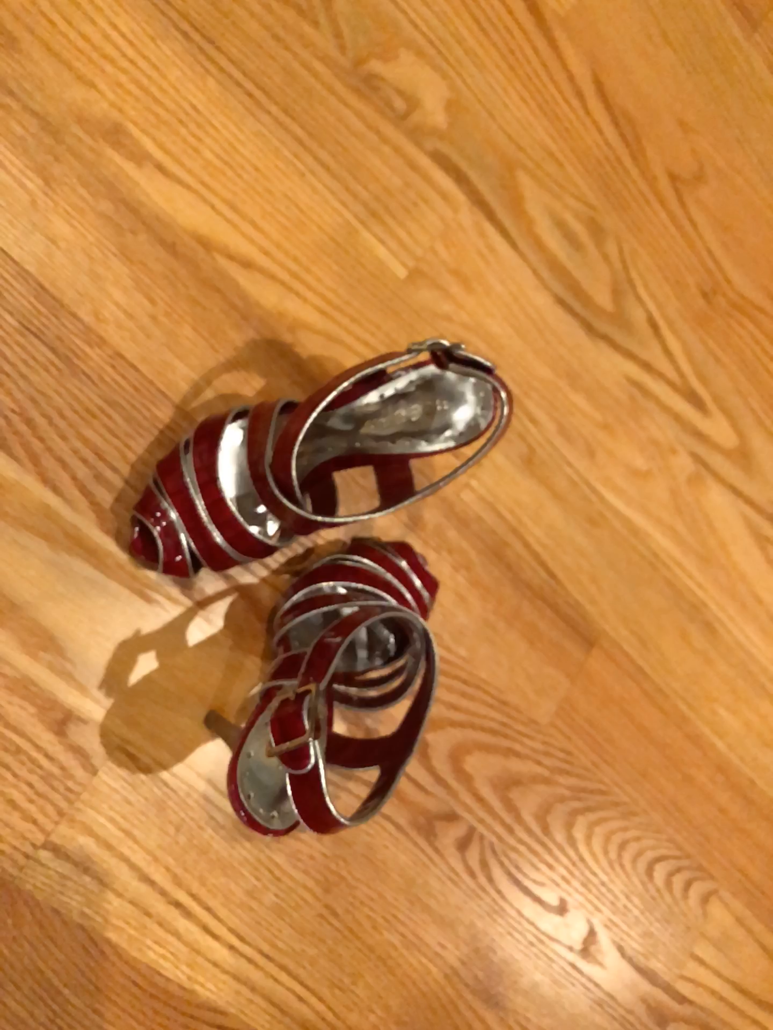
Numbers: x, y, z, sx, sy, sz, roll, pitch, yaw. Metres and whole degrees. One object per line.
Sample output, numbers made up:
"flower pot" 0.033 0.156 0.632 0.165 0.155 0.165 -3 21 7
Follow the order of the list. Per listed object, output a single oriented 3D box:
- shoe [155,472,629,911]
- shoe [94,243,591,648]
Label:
"shoe" -0.001 0.077 0.454 0.194 0.141 0.091 -40 105 -24
"shoe" -0.028 -0.034 0.448 0.199 0.151 0.091 -37 103 -24
